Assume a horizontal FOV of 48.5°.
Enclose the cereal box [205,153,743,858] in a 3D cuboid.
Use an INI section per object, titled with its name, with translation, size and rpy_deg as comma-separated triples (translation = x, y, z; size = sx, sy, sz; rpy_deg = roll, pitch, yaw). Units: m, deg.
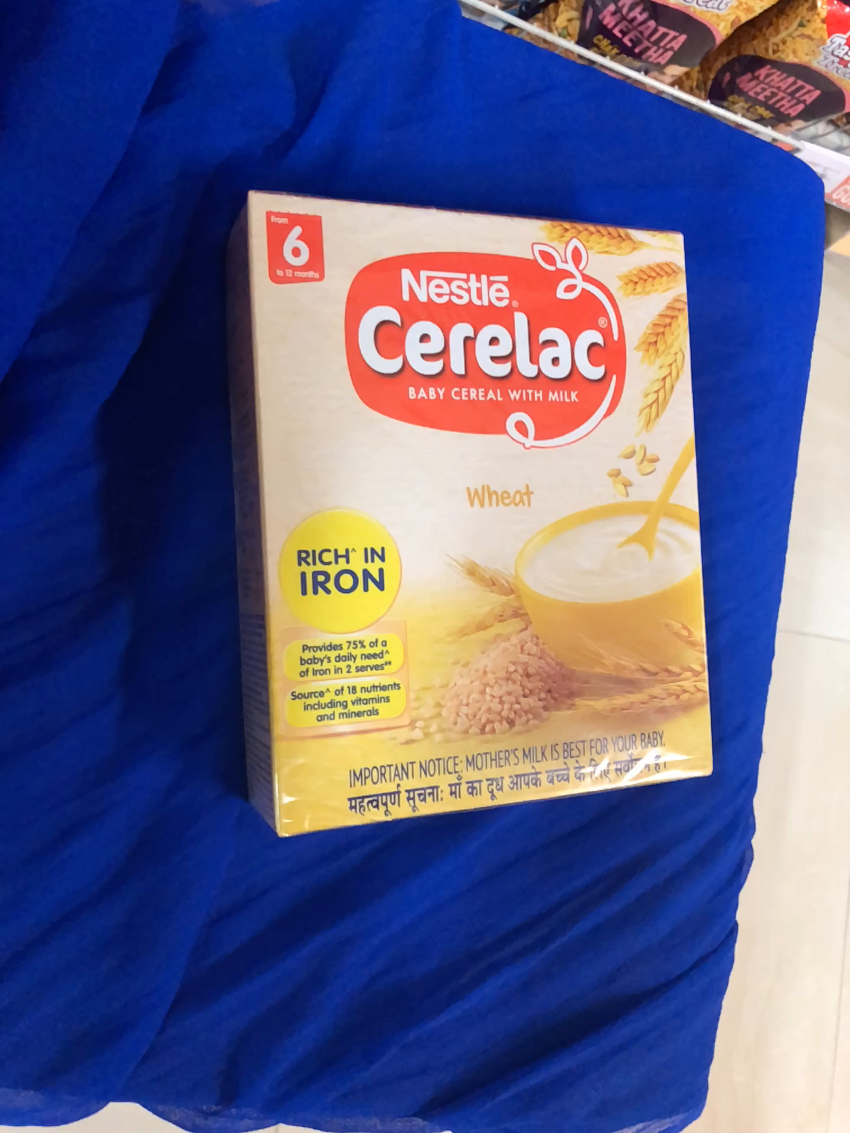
[cereal box]
translation = 0.018, -0.019, 0.314
size = 0.160, 0.060, 0.190
rpy_deg = -3, 89, -24
